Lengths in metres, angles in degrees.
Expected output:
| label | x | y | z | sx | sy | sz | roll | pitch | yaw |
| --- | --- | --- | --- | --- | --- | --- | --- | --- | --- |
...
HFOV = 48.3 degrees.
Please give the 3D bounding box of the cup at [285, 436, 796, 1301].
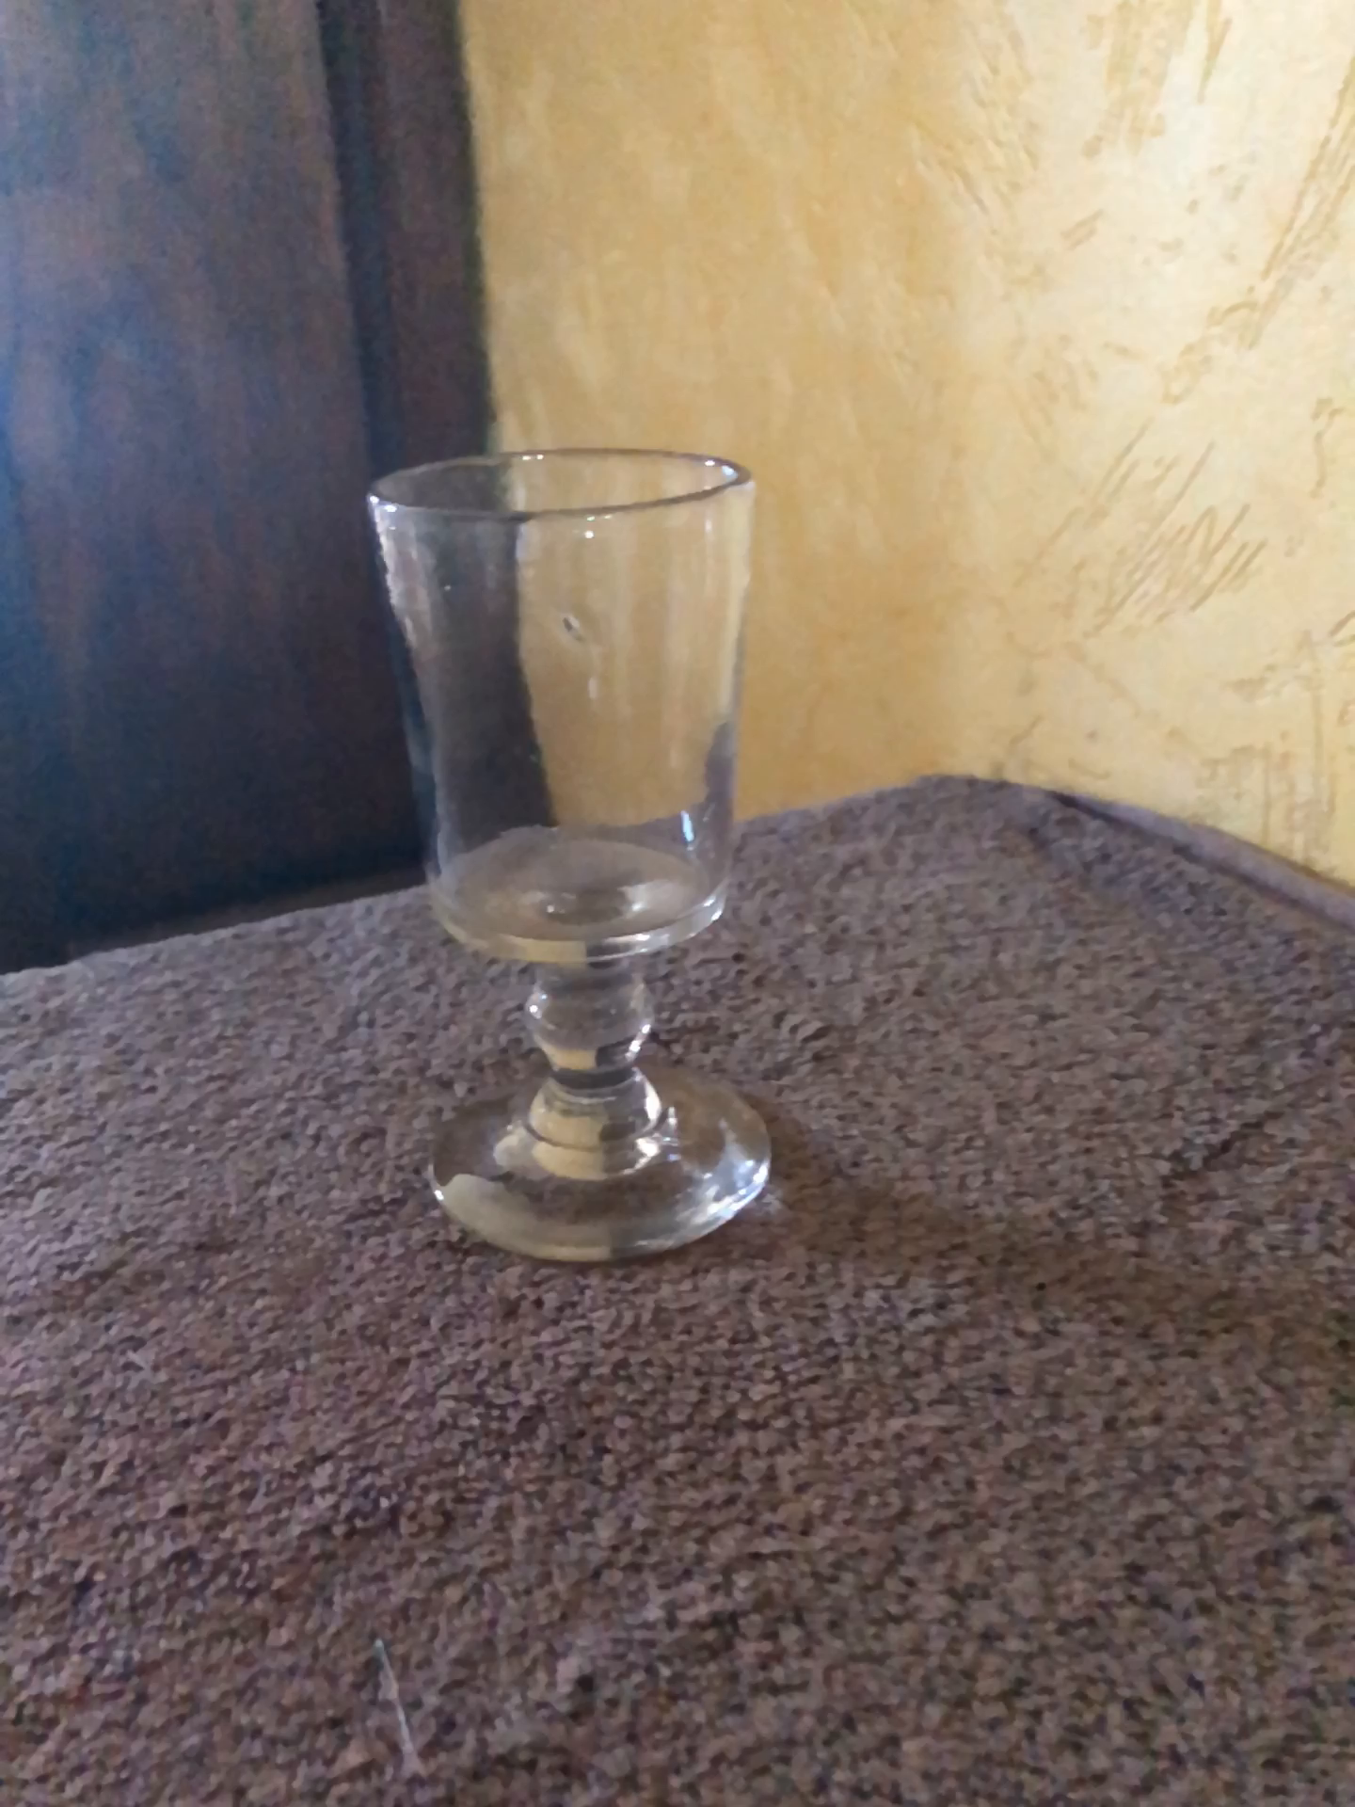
| label | x | y | z | sx | sy | sz | roll | pitch | yaw |
| --- | --- | --- | --- | --- | --- | --- | --- | --- | --- |
| cup | -0.020 | -0.008 | 0.228 | 0.060 | 0.109 | 0.060 | -2 | 24 | 1 |
